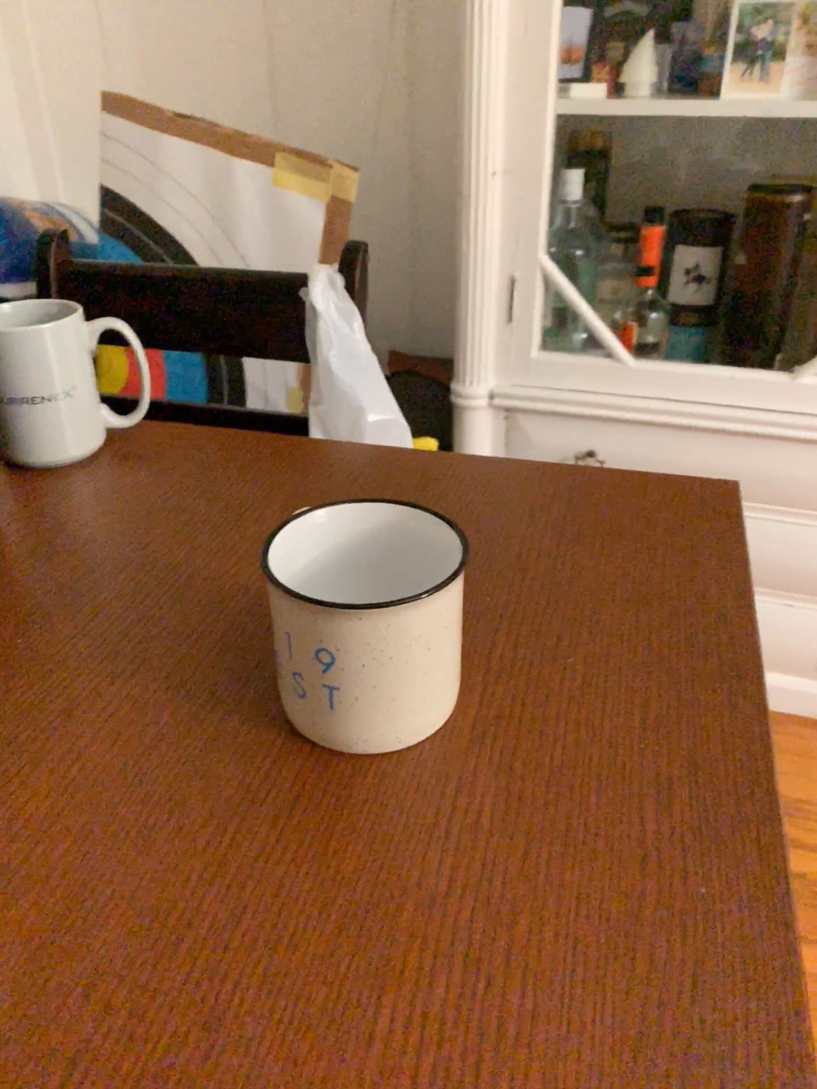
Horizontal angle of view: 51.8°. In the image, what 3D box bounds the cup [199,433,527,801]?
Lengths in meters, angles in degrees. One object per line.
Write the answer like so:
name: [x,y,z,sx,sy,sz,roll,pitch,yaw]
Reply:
cup: [-0.028,0.025,0.427,0.100,0.099,0.151,-16,34,-25]
